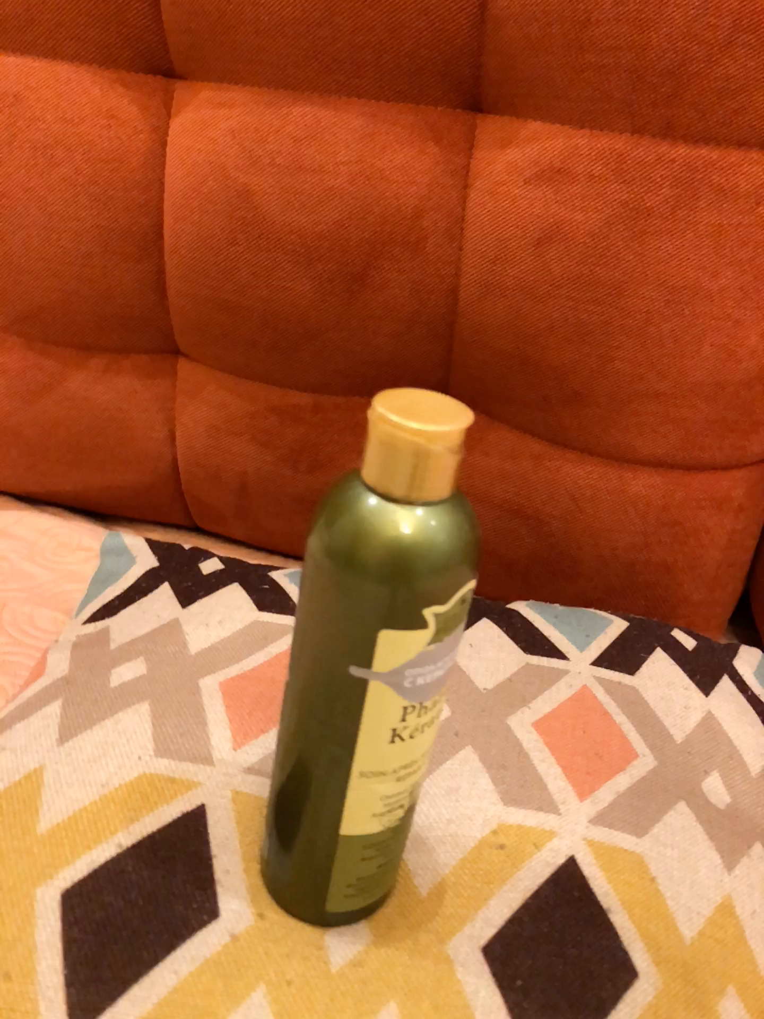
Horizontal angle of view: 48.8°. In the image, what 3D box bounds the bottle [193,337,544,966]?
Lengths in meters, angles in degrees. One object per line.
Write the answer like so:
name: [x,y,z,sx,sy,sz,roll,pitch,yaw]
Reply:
bottle: [-0.012,0.047,0.268,0.070,0.179,0.060,26,34,29]
